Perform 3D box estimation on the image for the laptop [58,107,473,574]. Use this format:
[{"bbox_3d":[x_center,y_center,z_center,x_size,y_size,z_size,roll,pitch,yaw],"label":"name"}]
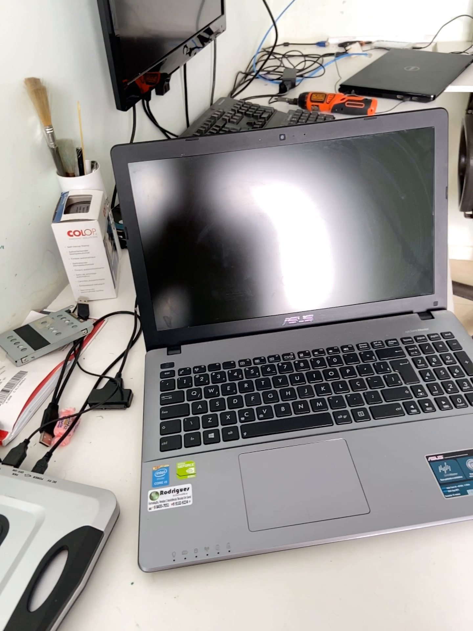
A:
[{"bbox_3d":[0.078,-0.013,0.471,0.376,0.213,0.358,-8,40,-3],"label":"laptop"}]
